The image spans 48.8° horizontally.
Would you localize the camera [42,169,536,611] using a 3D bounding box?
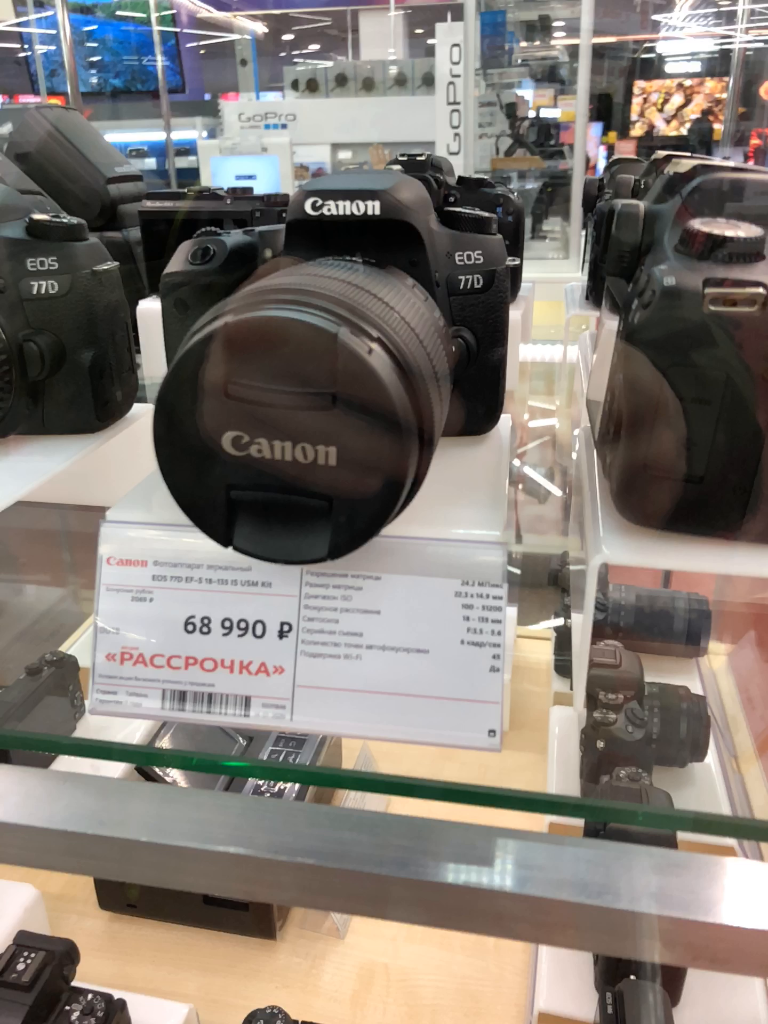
[{"bbox_3d":[-0.013,-0.061,0.320,0.132,0.119,0.168,3,24,10],"label":"camera"}]
